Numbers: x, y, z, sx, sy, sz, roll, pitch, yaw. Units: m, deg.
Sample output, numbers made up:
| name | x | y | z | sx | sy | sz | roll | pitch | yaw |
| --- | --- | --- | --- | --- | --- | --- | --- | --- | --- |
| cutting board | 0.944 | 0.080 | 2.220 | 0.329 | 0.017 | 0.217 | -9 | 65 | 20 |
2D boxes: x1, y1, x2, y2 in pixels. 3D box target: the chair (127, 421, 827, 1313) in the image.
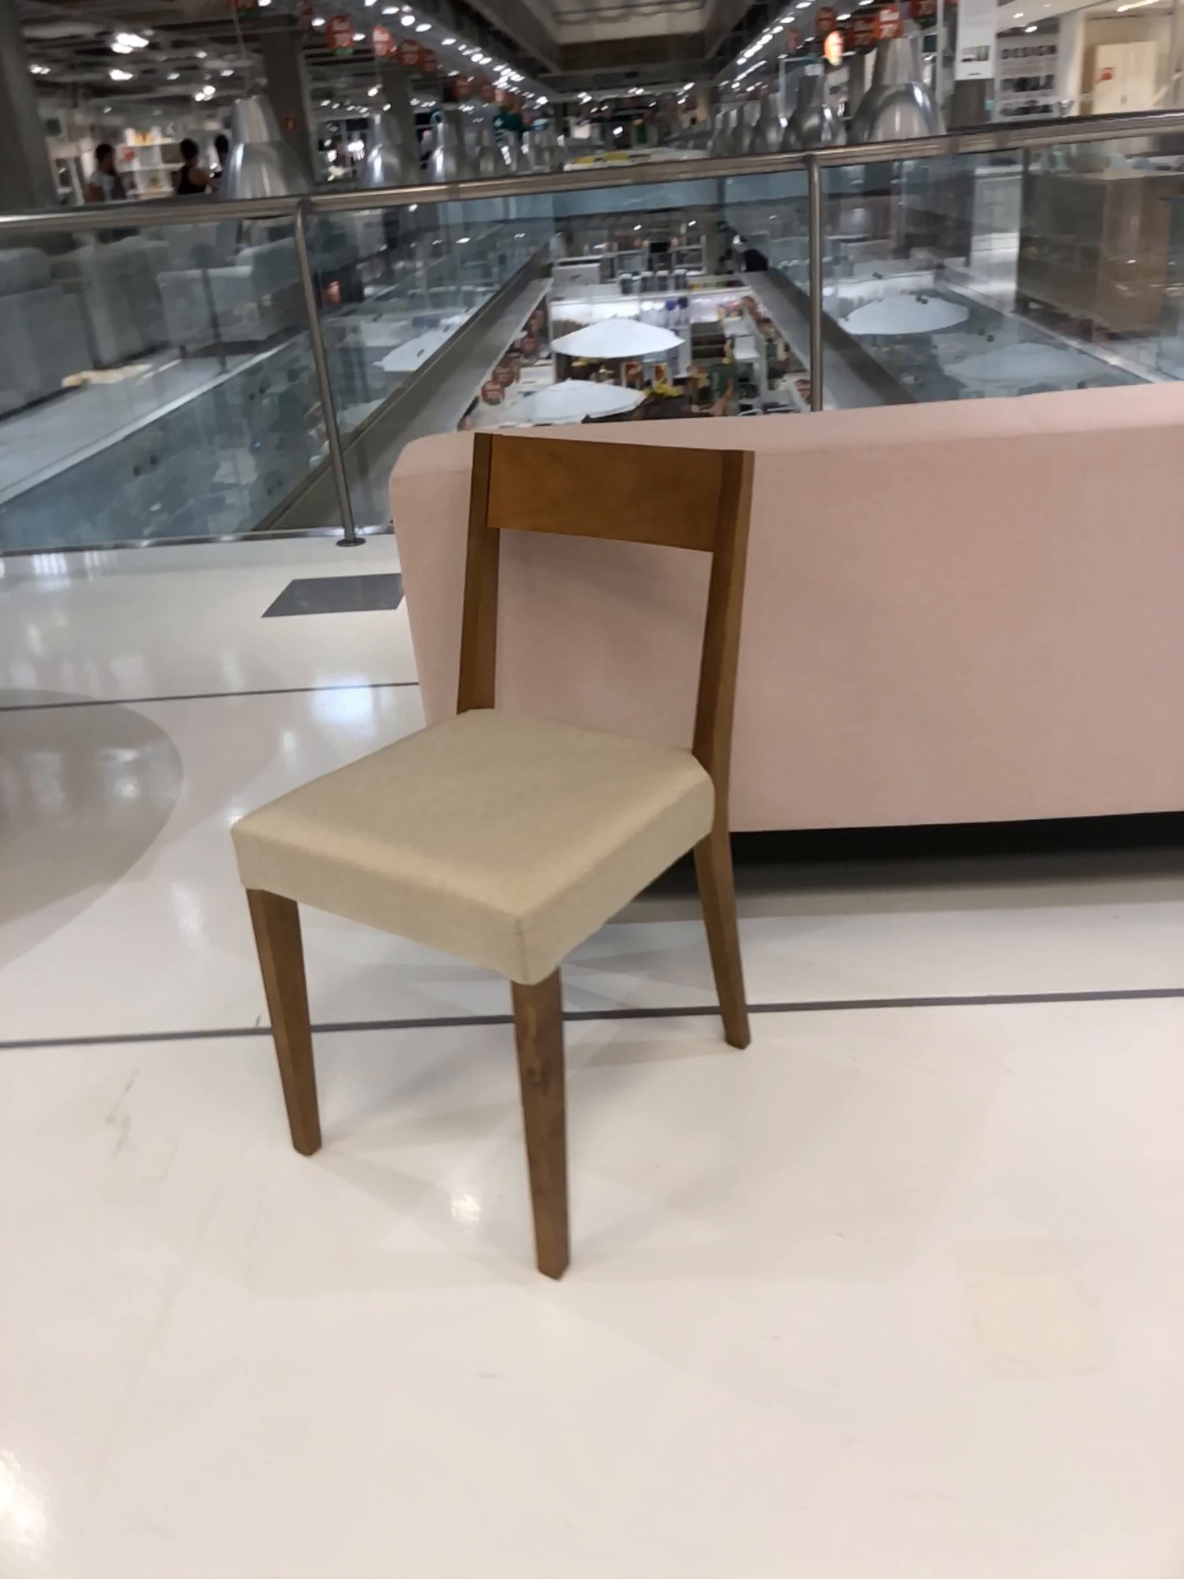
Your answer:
| name | x | y | z | sx | sy | sz | roll | pitch | yaw |
| --- | --- | --- | --- | --- | --- | --- | --- | --- | --- |
| chair | -0.076 | 0.035 | 1.581 | 0.491 | 0.814 | 0.593 | 14 | 32 | 35 |
